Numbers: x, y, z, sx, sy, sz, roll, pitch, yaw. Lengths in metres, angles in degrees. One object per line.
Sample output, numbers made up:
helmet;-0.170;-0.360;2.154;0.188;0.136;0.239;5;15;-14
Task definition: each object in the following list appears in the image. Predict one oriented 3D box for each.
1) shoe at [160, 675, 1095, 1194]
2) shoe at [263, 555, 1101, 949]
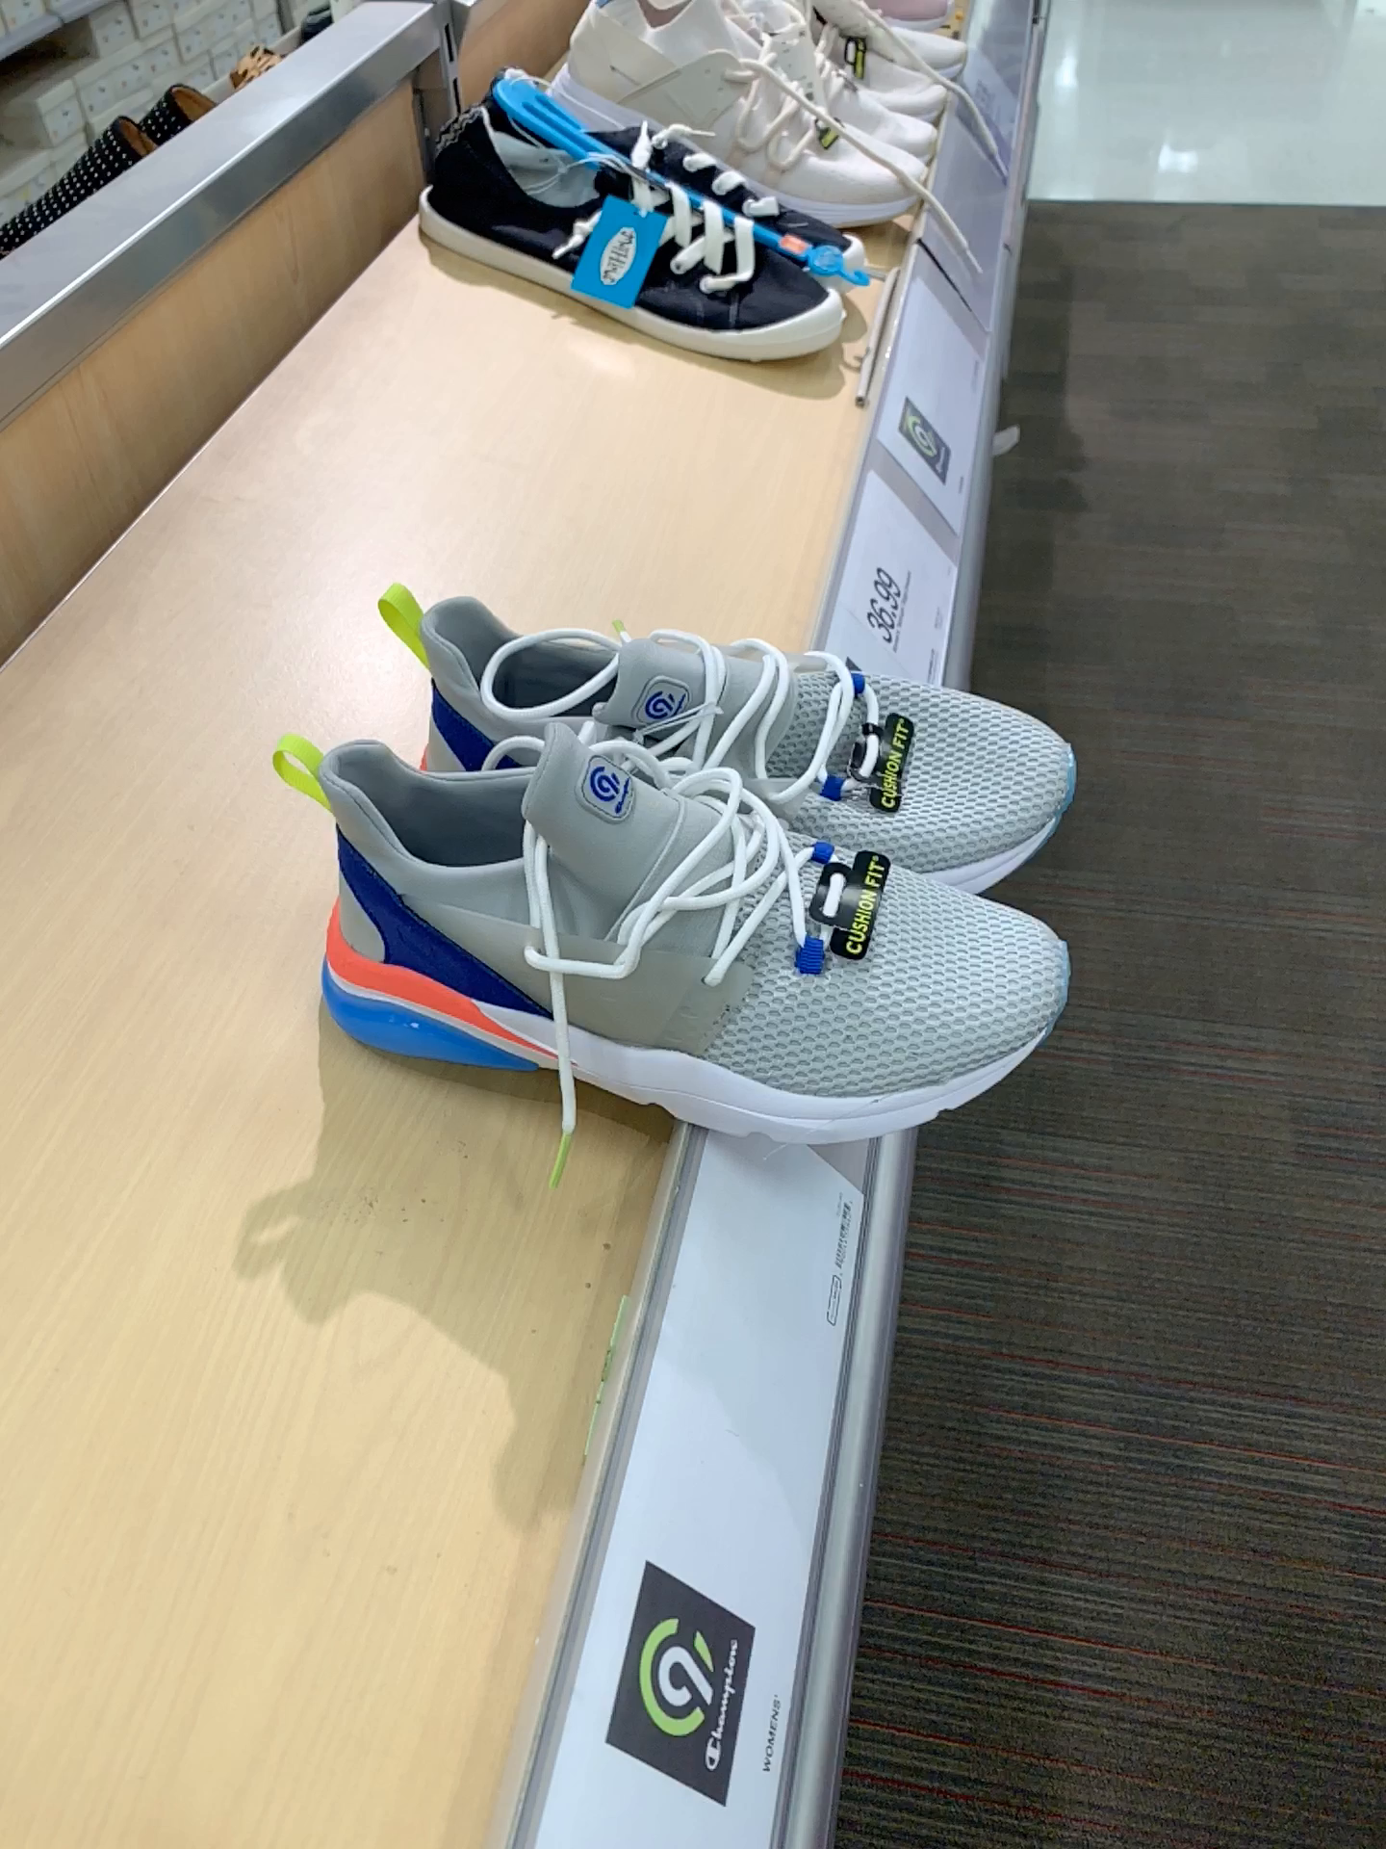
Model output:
shoe;-0.013;-0.002;0.470;0.270;0.090;0.110;6;46;10
shoe;0.000;-0.067;0.527;0.270;0.090;0.110;2;45;6
